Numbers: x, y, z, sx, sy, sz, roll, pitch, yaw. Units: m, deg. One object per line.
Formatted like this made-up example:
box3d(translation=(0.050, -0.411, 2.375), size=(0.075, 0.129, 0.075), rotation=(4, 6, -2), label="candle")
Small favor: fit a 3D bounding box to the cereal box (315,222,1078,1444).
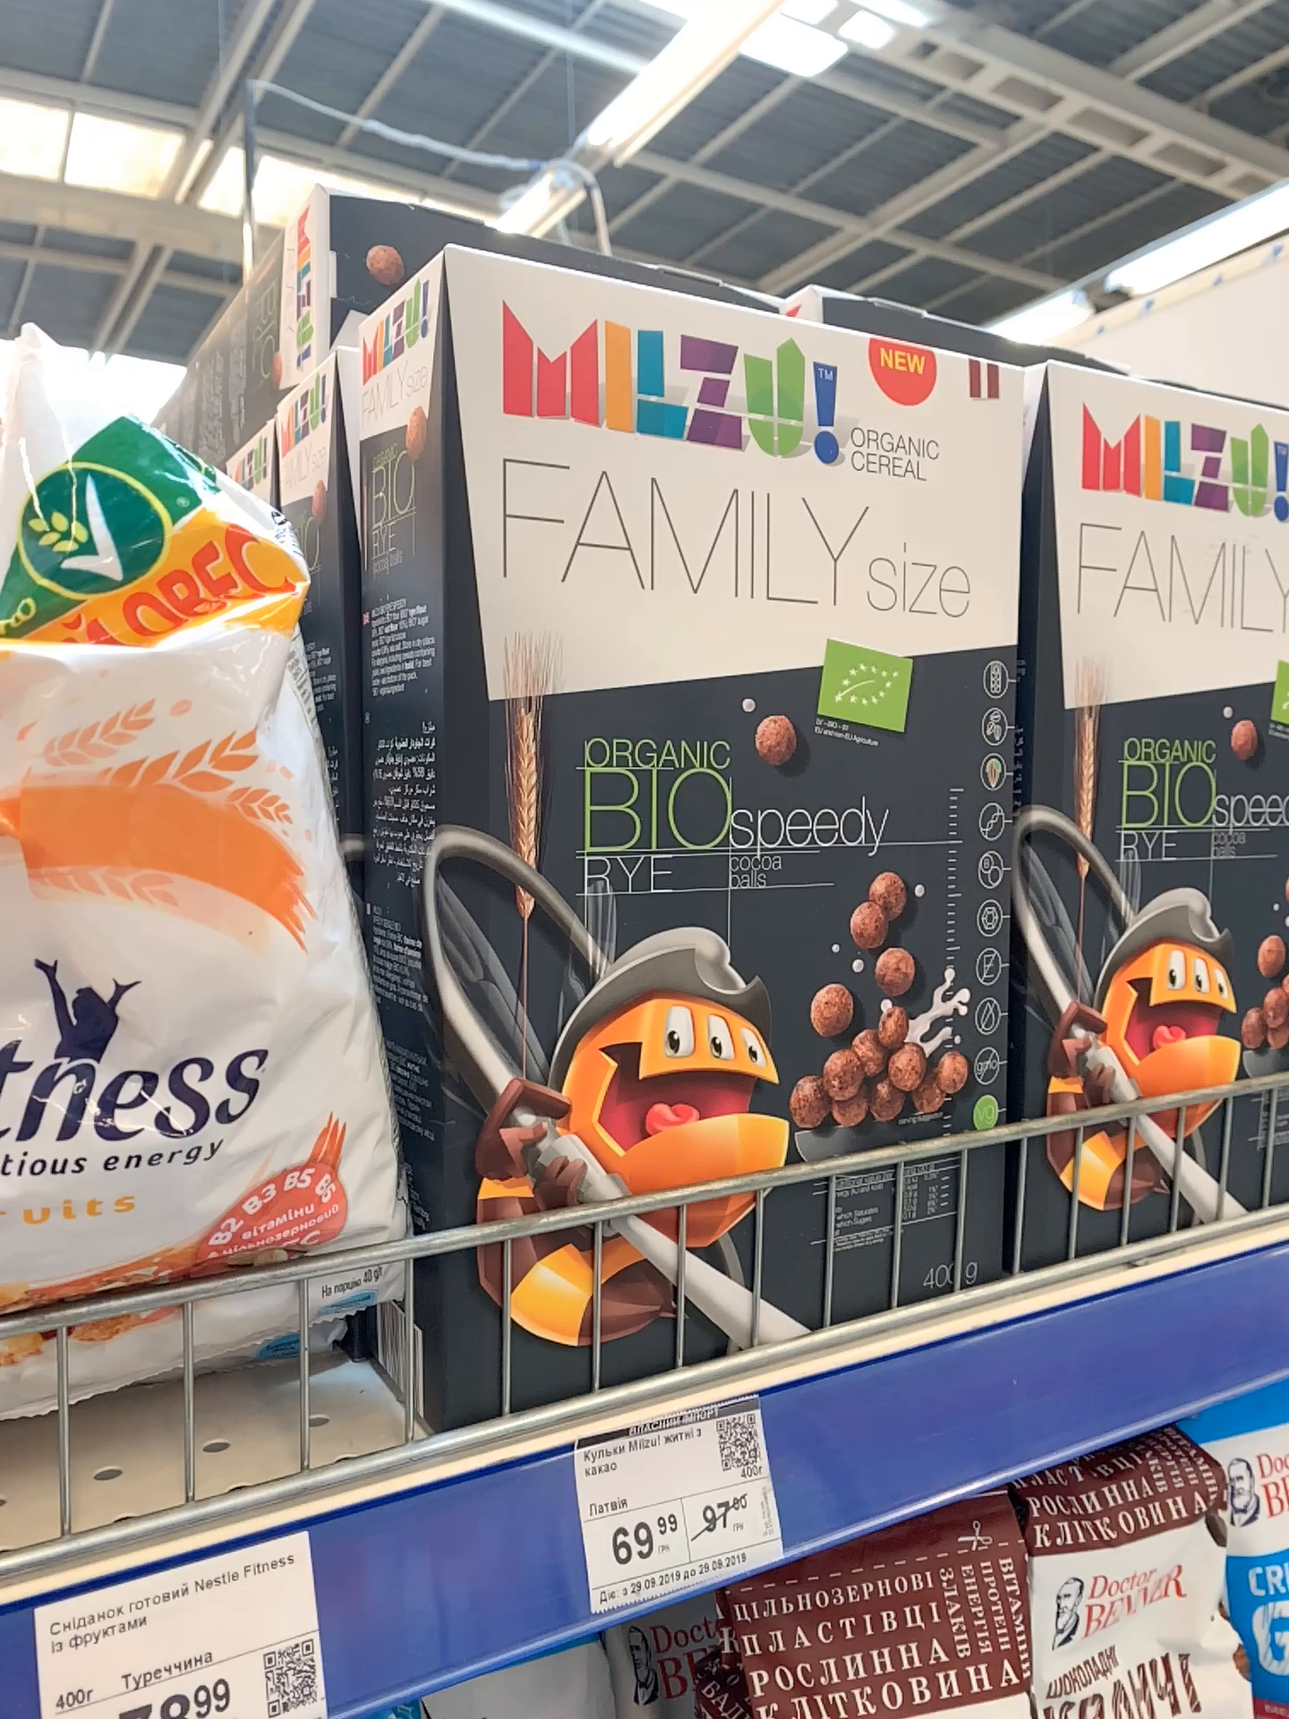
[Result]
box3d(translation=(0.017, -0.008, 0.381), size=(0.200, 0.270, 0.080), rotation=(-1, 5, -32), label="cereal box")
